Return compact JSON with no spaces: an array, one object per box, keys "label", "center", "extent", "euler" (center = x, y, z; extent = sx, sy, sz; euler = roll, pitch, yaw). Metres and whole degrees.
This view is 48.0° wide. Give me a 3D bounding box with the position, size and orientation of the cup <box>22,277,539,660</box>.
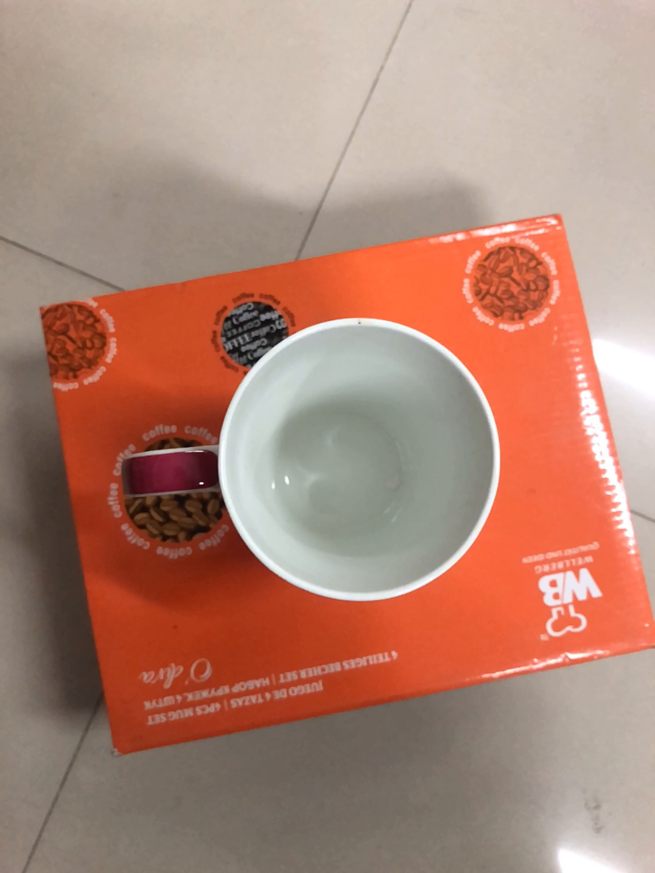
[{"label":"cup","center":[-0.014,0.010,0.250],"extent":[0.130,0.110,0.090],"euler":[-5,87,-2]}]
